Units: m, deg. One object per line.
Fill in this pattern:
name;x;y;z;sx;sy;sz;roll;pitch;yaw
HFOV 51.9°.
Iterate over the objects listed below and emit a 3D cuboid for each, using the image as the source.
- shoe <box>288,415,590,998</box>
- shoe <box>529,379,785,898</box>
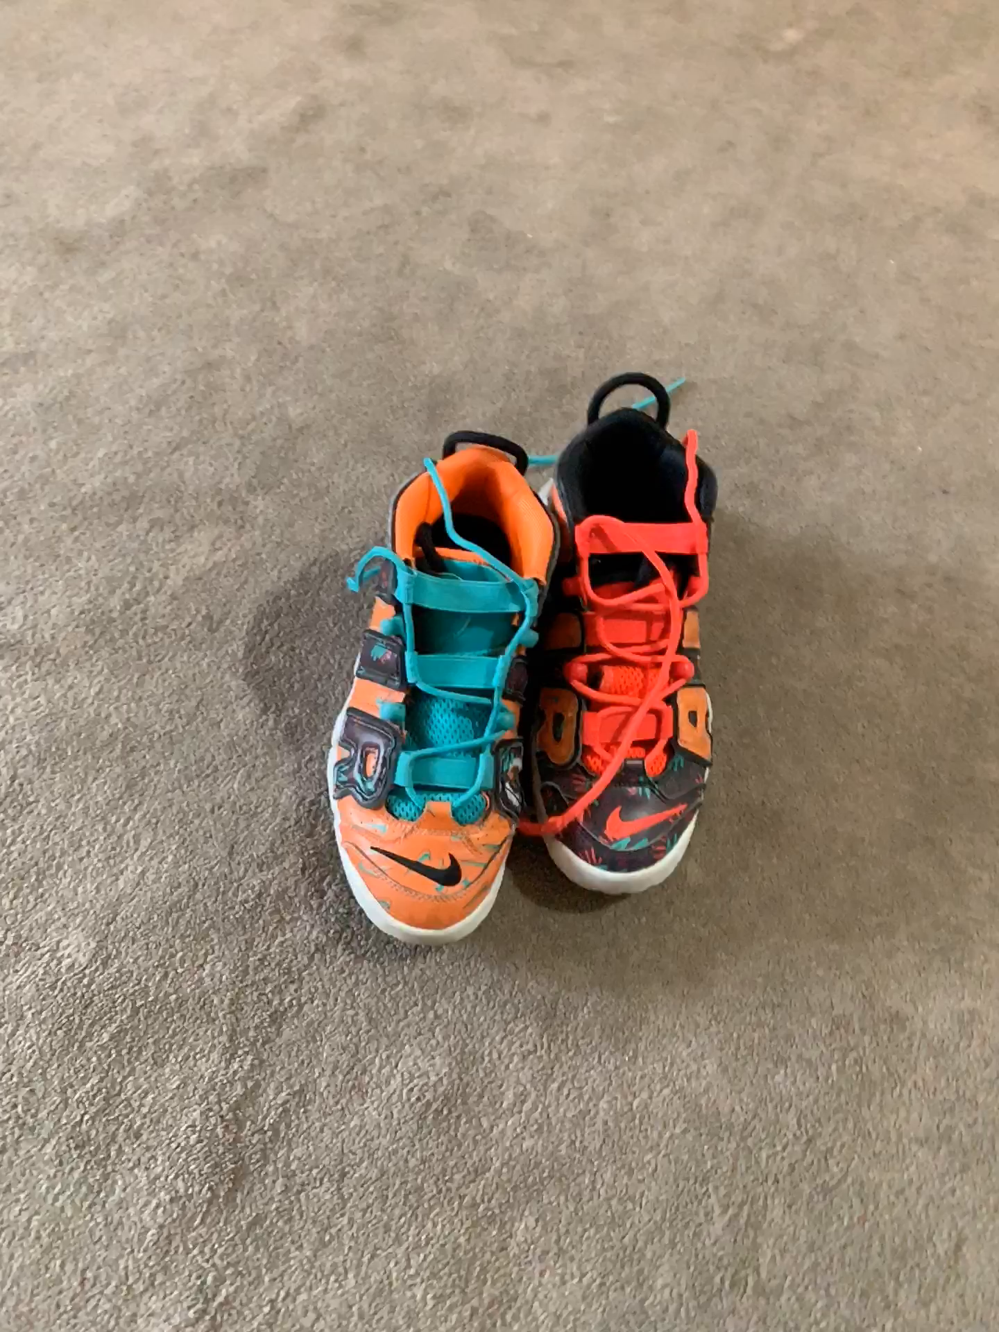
shoe;-0.023;0.020;0.487;0.100;0.090;0.251;7;72;-2
shoe;0.067;-0.009;0.505;0.100;0.110;0.231;1;72;0
